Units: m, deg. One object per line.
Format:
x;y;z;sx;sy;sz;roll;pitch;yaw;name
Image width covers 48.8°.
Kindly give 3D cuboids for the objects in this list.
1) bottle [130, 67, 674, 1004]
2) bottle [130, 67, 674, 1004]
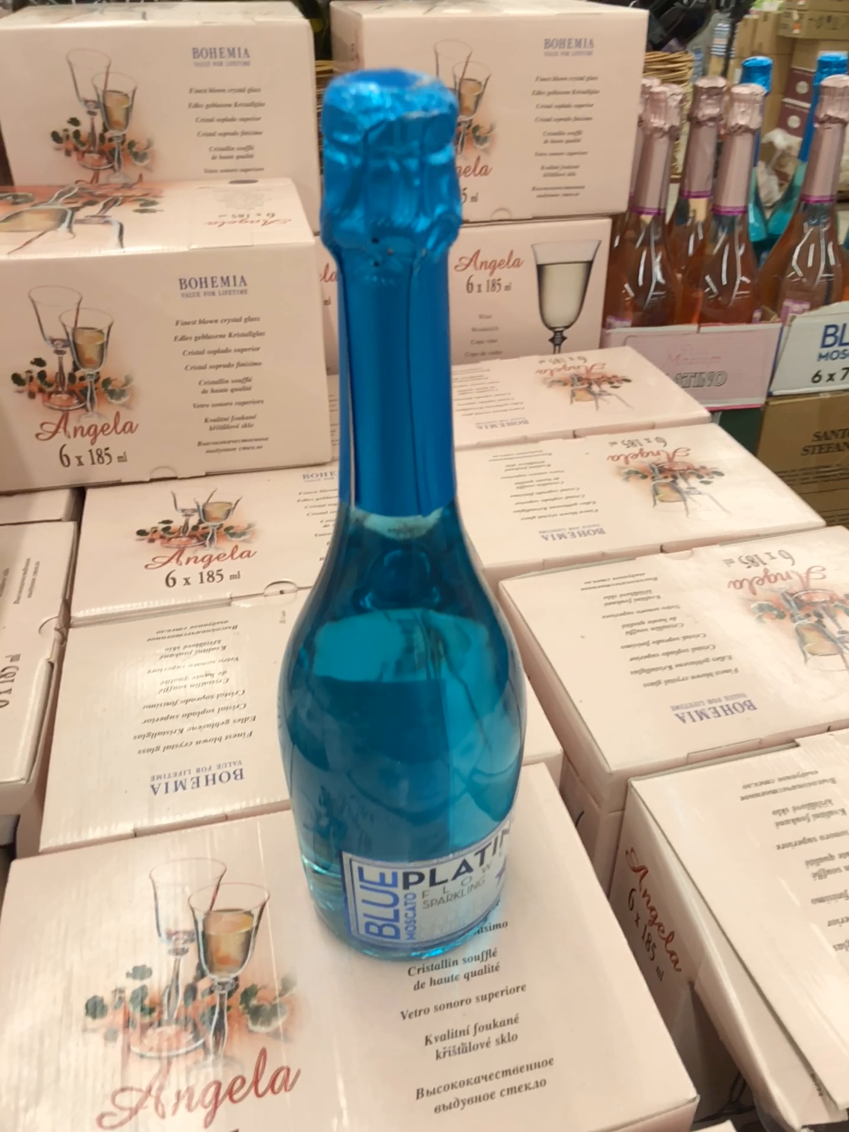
-0.011;0.000;0.308;0.100;0.278;0.100;0;33;0;bottle
-0.011;0.000;0.308;0.100;0.278;0.100;0;33;0;bottle
